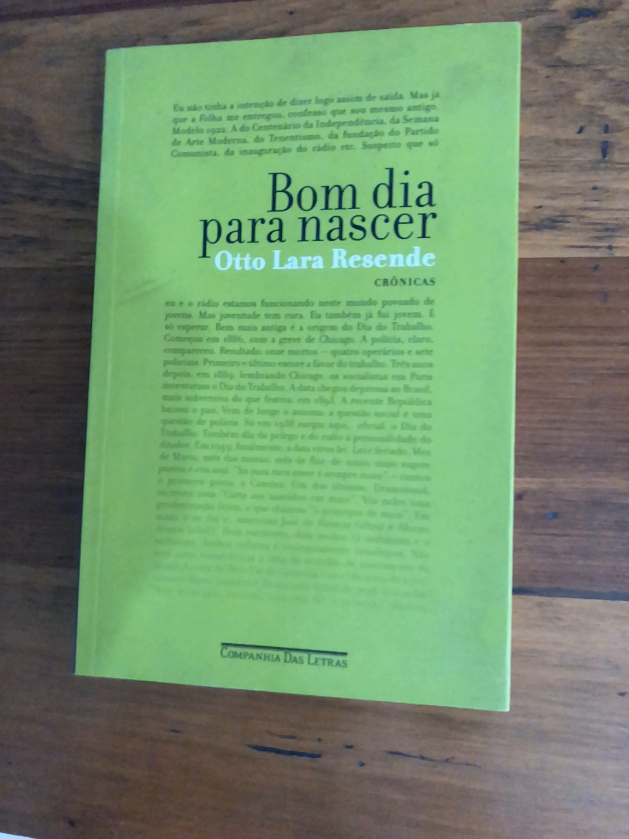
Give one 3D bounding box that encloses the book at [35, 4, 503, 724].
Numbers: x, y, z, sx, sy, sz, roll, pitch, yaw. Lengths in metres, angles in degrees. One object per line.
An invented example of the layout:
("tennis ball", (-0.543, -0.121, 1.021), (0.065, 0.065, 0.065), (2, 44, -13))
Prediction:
("book", (-0.012, -0.020, 0.226), (0.136, 0.030, 0.208), (1, 86, 9))
